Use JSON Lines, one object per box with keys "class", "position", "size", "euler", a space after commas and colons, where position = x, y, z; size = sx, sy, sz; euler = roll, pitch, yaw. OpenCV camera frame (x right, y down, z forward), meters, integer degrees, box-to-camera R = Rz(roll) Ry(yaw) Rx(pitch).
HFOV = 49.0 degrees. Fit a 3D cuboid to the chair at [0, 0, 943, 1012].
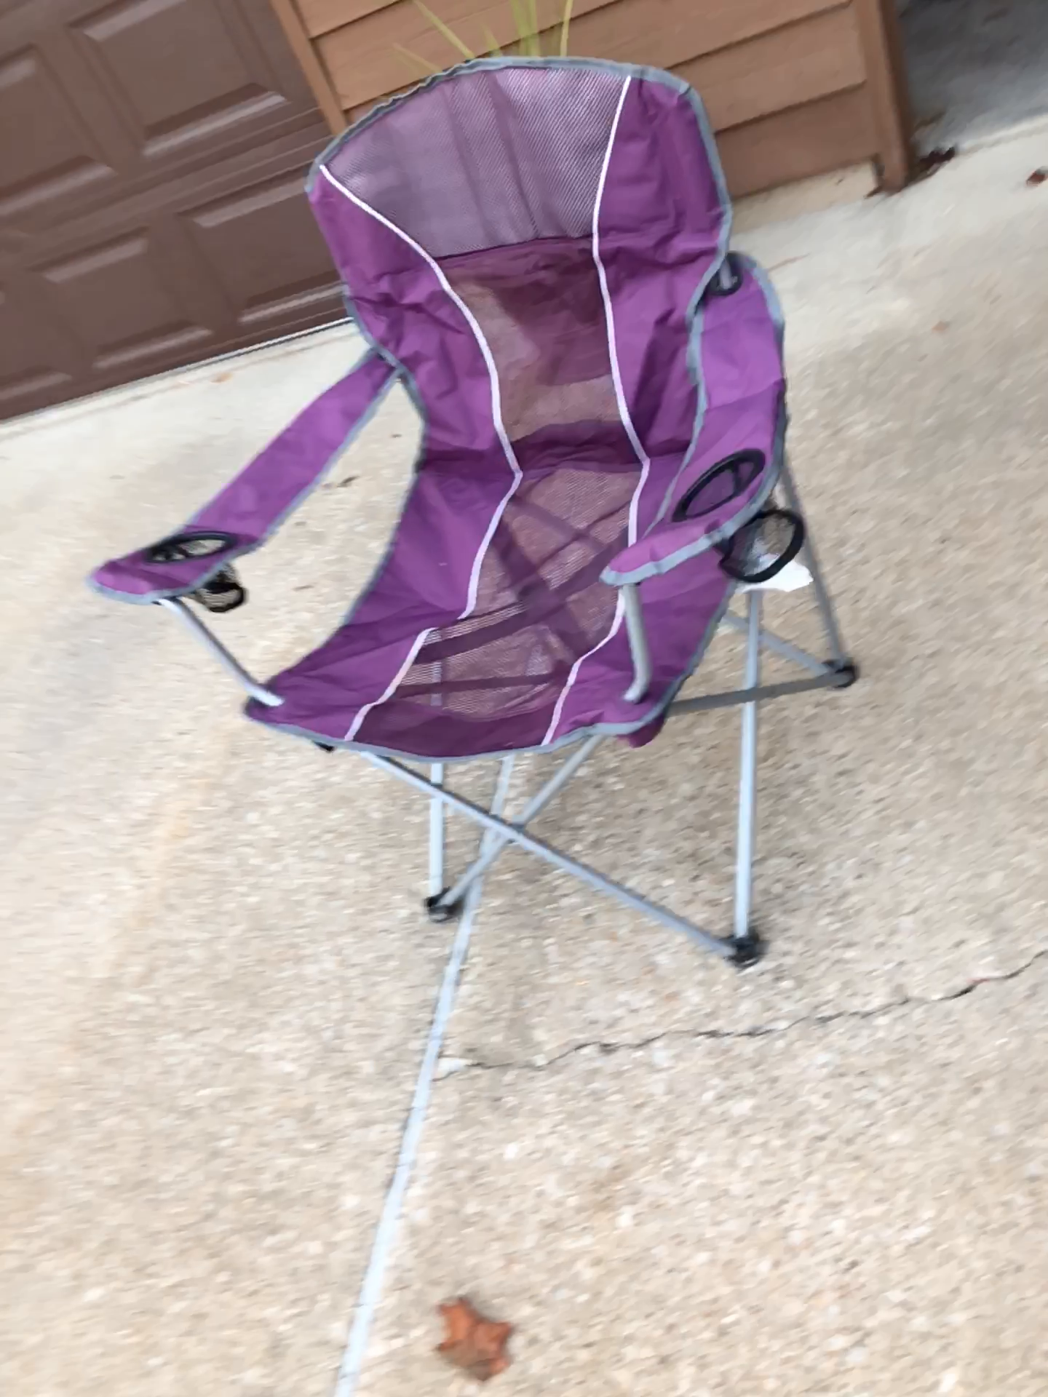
{"class": "chair", "position": [-0.009, -0.220, 1.418], "size": [0.761, 0.878, 0.711], "euler": [1, 46, 33]}
